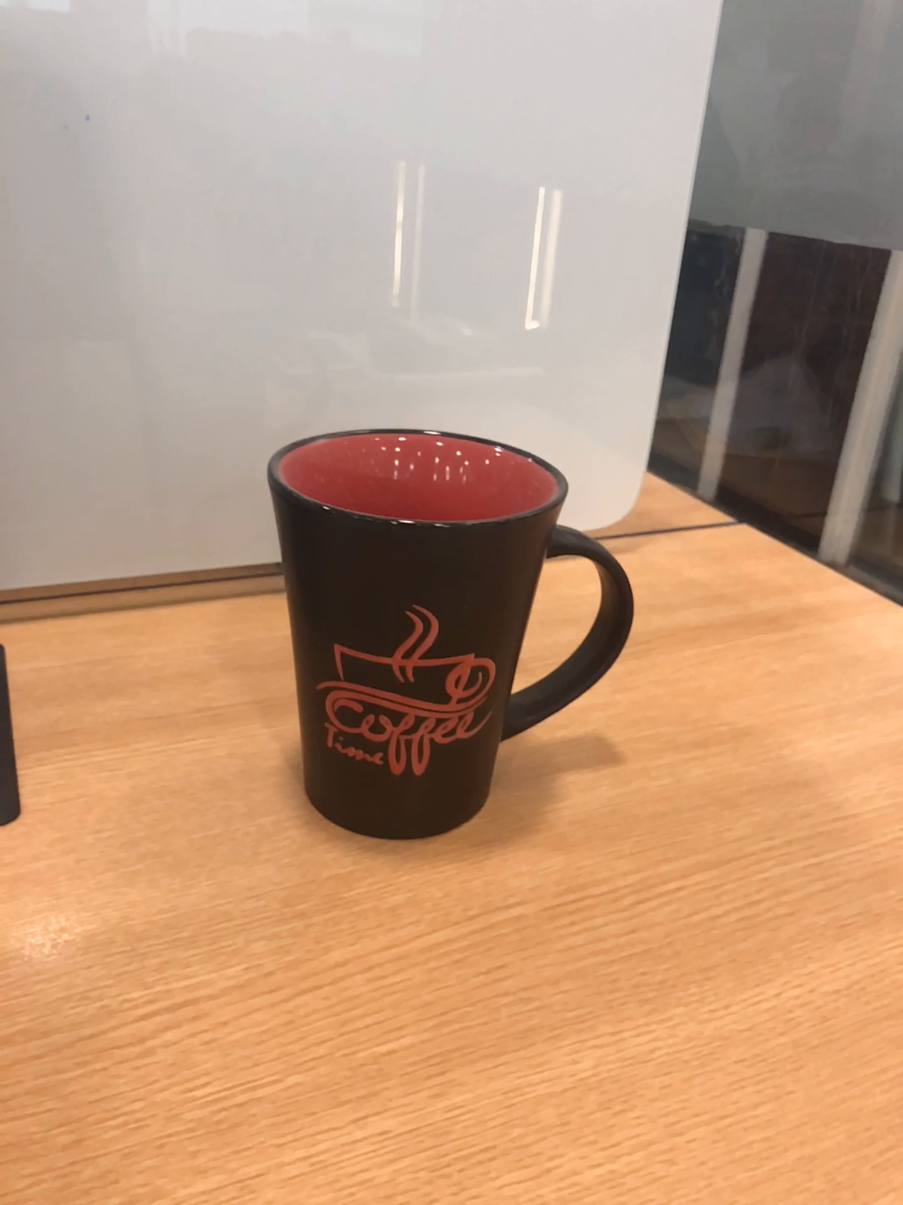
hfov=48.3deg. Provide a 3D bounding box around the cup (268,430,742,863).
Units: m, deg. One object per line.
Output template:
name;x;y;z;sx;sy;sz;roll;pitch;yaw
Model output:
cup;0.006;0.007;0.318;0.120;0.100;0.090;-2;25;-14
